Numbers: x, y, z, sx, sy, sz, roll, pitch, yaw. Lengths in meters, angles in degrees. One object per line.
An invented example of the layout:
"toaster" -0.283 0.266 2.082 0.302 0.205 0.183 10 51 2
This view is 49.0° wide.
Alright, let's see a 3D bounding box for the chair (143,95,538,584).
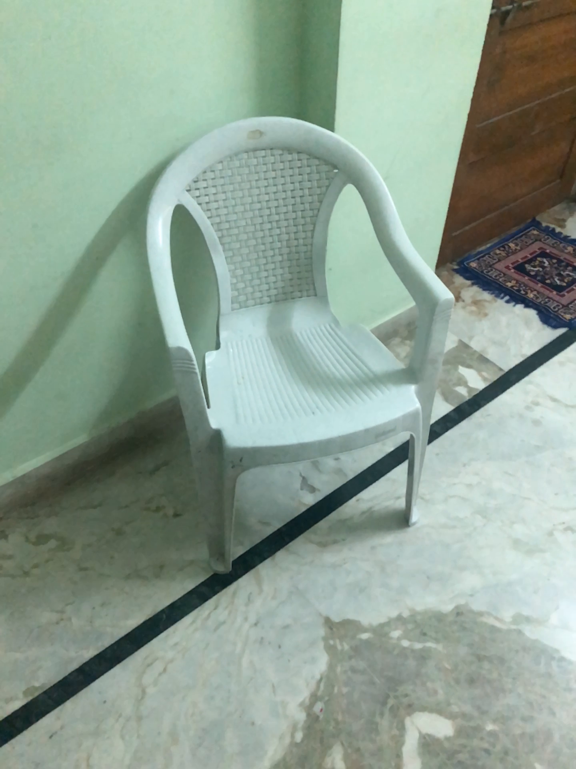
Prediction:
"chair" 0.041 -0.074 1.353 0.530 0.825 0.533 -9 46 -10
